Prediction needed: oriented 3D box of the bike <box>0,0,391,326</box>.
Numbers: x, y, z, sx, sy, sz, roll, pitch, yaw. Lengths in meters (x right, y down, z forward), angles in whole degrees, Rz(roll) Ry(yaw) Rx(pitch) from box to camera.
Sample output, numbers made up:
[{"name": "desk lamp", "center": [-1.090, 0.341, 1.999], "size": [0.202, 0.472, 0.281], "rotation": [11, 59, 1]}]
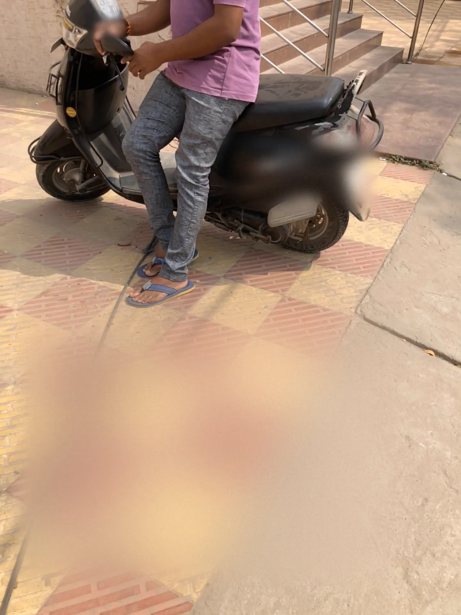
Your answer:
[{"name": "bike", "center": [-0.323, -0.708, 2.084], "size": [1.592, 1.116, 0.640], "rotation": [12, 37, 14]}]
